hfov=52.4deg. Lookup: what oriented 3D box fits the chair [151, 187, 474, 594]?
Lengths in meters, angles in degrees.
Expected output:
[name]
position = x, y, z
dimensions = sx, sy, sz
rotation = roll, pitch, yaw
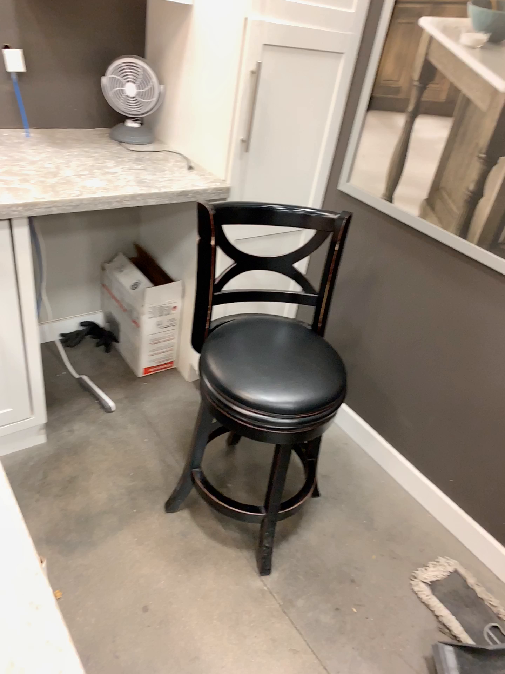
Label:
[chair]
position = 0.044, 0.143, 1.463
dimensions = 0.558, 0.912, 0.607
rotation = -1, 35, -17
